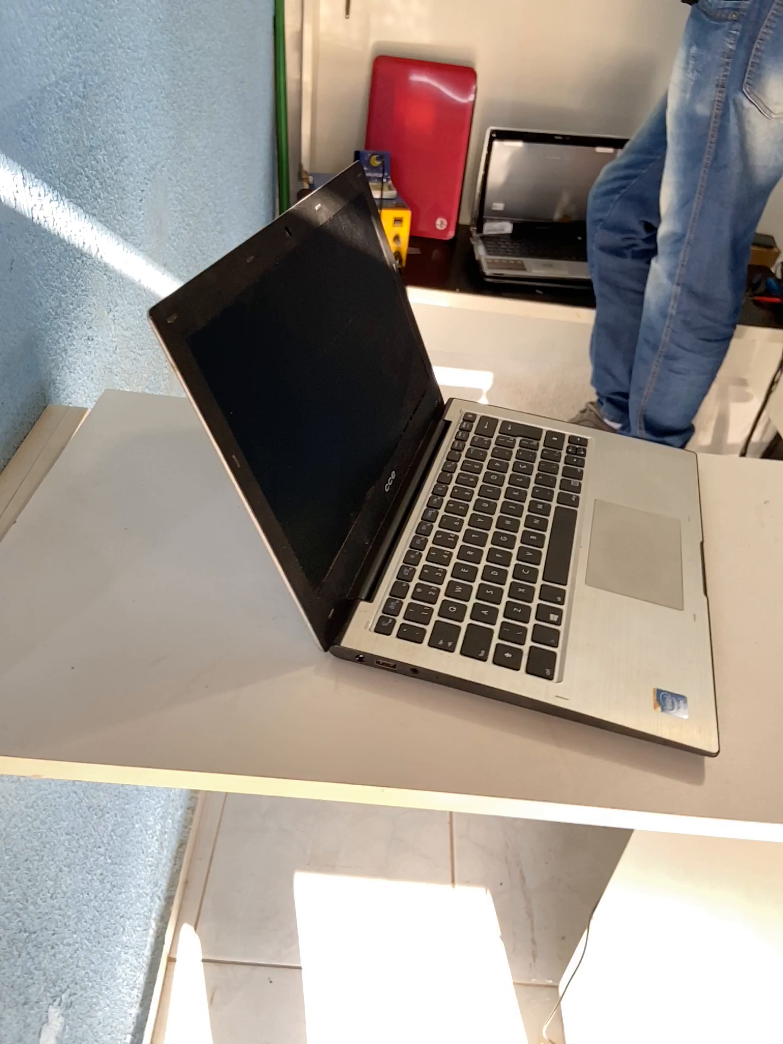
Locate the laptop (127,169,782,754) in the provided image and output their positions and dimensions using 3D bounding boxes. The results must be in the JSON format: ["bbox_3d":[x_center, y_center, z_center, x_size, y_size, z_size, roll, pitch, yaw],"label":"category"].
[{"bbox_3d":[0.061,-0.073,0.512,0.303,0.181,0.315,13,37,9],"label":"laptop"}]
